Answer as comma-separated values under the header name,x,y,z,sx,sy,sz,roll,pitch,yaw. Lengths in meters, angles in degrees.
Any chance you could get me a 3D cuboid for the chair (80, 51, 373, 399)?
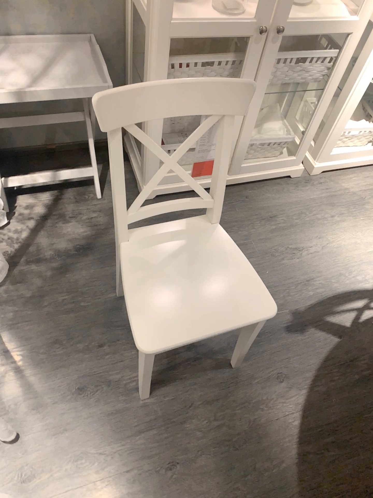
name,x,y,z,sx,sy,sz,roll,pitch,yaw
chair,0.010,0.003,1.087,0.440,0.858,0.491,-12,57,-17
